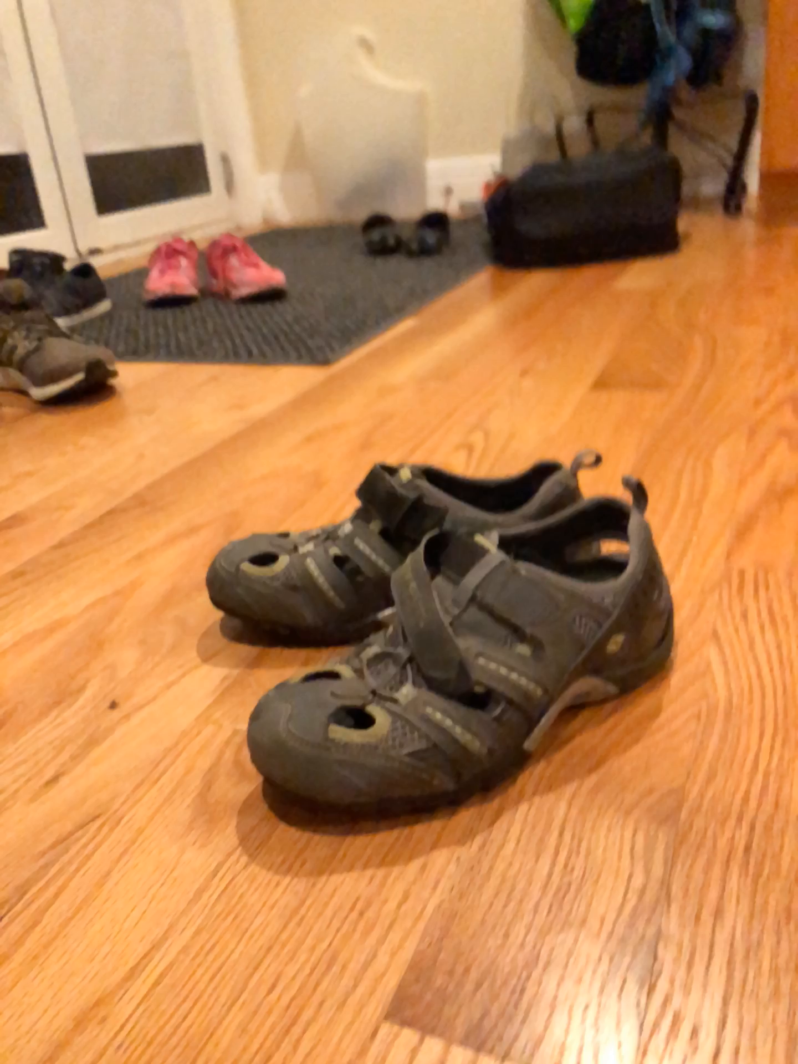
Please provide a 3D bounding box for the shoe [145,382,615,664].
[{"bbox_3d":[-0.006,-0.009,0.529,0.245,0.113,0.101,-6,24,0],"label":"shoe"}]

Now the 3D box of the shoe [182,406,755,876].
[{"bbox_3d":[0.041,0.033,0.421,0.245,0.113,0.100,-19,27,-27],"label":"shoe"}]
